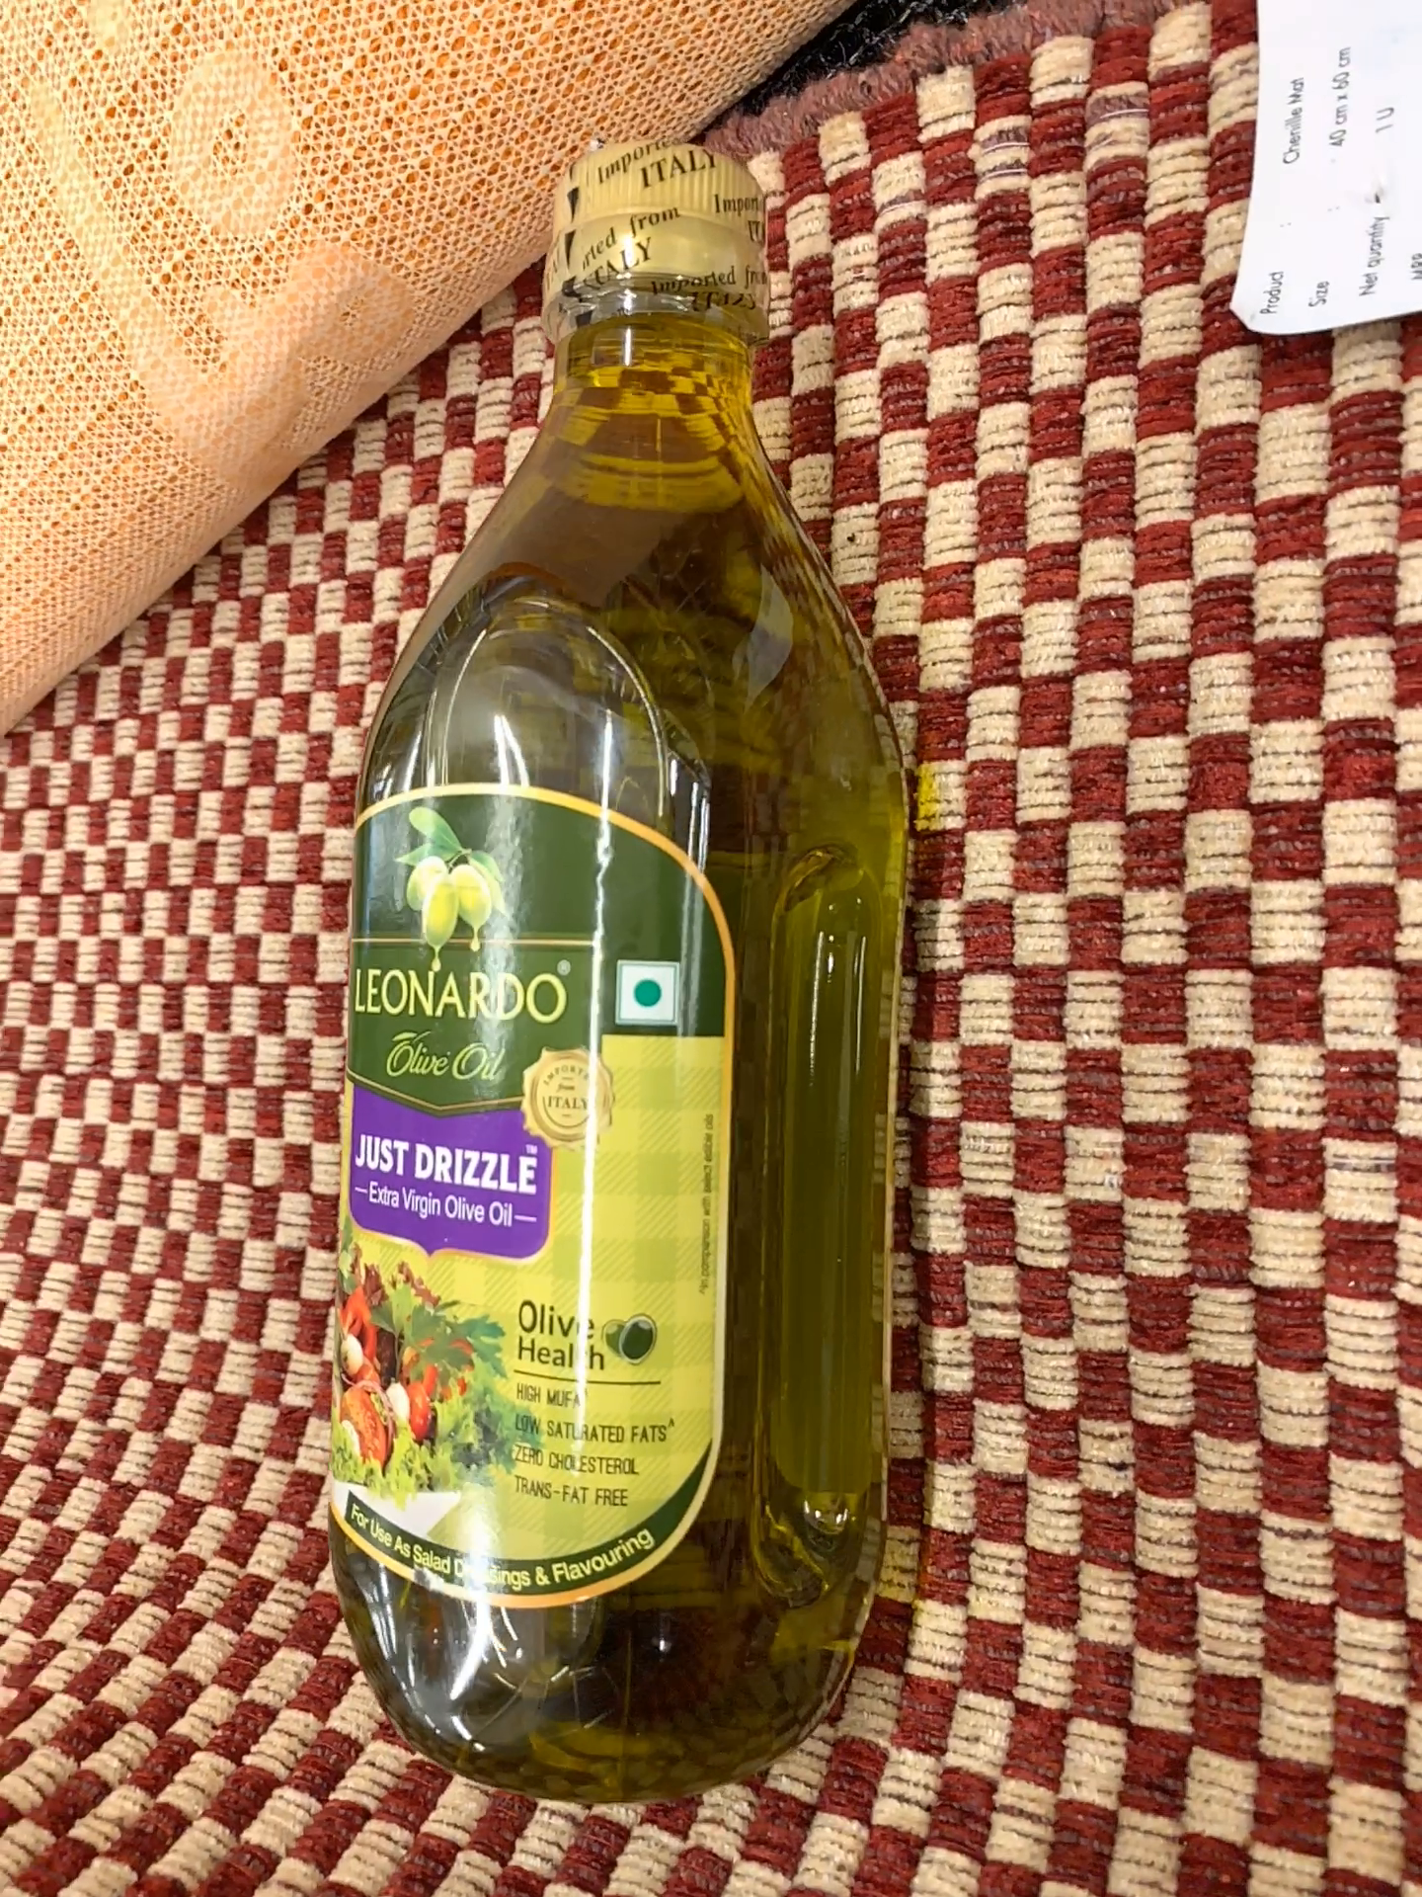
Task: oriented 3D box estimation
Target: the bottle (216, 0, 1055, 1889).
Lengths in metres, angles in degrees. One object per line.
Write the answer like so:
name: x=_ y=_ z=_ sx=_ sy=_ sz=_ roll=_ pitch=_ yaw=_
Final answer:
bottle: x=-0.008 y=-0.013 z=0.218 sx=0.080 sy=0.070 sz=0.240 roll=5 pitch=90 yaw=27
